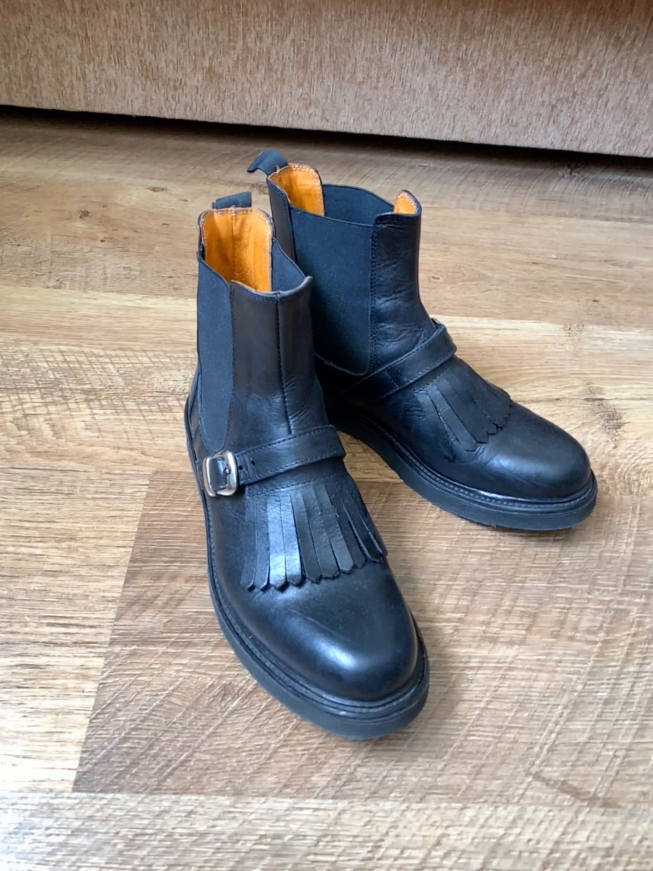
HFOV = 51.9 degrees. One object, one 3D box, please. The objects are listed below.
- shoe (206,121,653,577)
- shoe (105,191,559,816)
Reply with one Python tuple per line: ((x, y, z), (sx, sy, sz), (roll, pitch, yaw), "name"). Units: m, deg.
((0.063, -0.060, 0.403), (0.260, 0.149, 0.100), (30, 50, 21), "shoe")
((-0.025, 0.015, 0.335), (0.089, 0.151, 0.261), (-15, 50, -20), "shoe")
